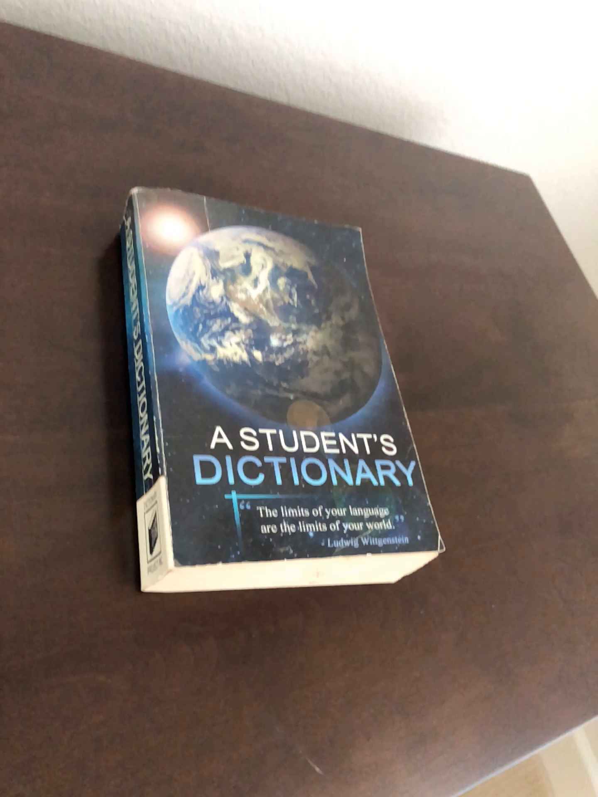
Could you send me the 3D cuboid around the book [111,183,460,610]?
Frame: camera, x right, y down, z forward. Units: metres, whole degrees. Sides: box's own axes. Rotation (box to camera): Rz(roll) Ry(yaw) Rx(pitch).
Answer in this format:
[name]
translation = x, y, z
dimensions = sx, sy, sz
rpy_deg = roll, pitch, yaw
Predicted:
[book]
translation = -0.014, -0.007, 0.339
dimensions = 0.141, 0.040, 0.202
rpy_deg = 3, 60, -27
